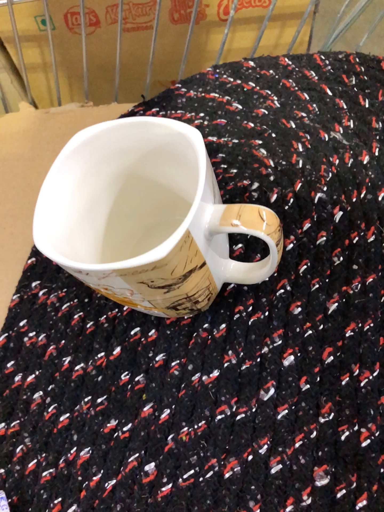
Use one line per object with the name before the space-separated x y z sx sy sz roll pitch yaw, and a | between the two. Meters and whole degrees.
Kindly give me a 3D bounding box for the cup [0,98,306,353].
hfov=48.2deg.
cup | -0.011 -0.015 0.223 0.120 0.080 0.090 5 64 22
